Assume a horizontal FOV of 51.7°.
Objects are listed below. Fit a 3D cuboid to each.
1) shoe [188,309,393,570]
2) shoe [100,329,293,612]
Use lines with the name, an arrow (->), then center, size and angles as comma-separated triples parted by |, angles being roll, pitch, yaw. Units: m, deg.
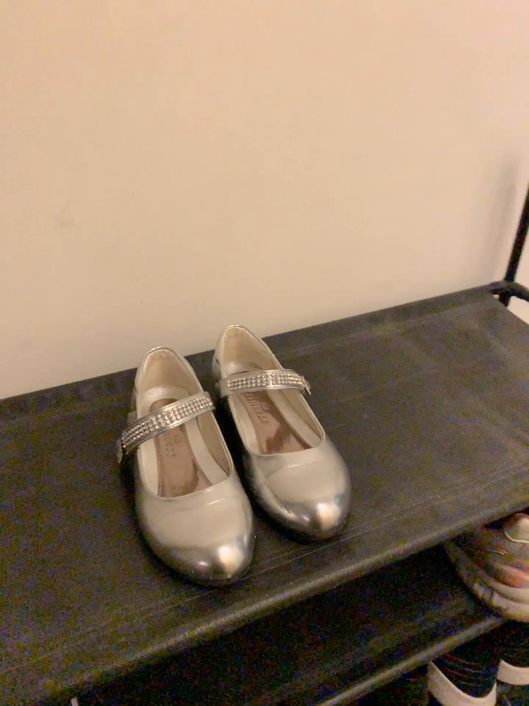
shoe -> 0.012, 0.054, 0.432 | 0.090, 0.089, 0.181 | -16, 35, -14
shoe -> -0.058, 0.073, 0.412 | 0.090, 0.089, 0.181 | -16, 35, -14
